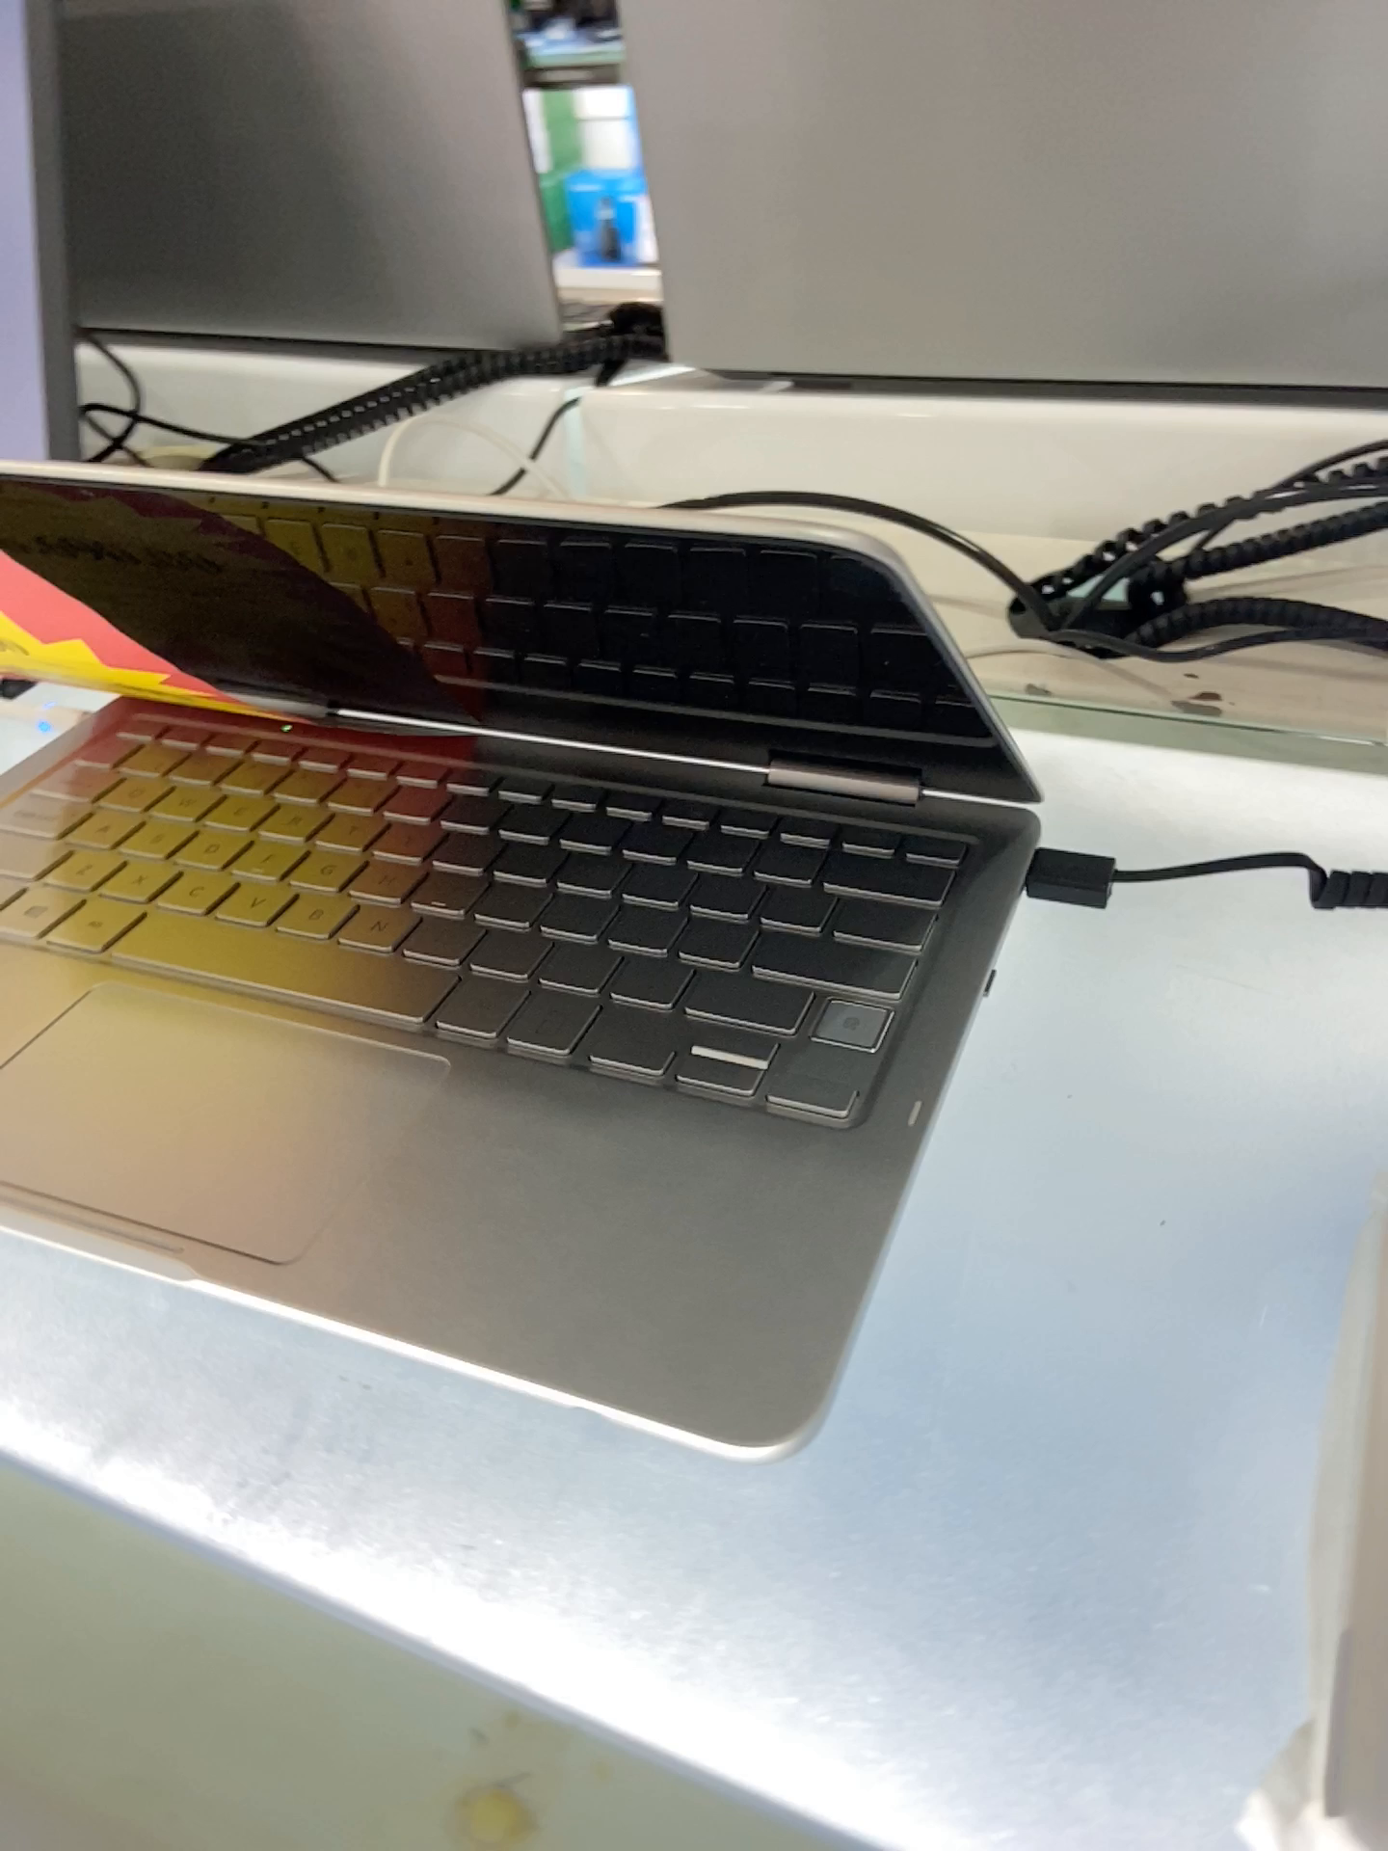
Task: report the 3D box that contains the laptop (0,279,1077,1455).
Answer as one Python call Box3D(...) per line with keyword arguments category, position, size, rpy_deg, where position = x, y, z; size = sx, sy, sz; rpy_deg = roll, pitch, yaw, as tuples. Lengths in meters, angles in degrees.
Box3D(category="laptop", position=(-0.092, -0.050, 0.322), size=(0.306, 0.132, 0.202), rpy_deg=(10, 38, 21))
